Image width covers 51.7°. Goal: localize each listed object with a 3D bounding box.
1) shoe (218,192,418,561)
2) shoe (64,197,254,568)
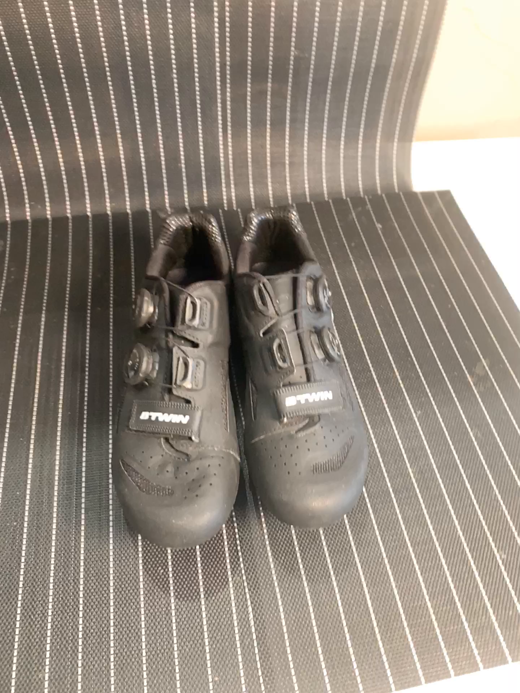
[{"bbox_3d":[0.026,0.009,0.414,0.100,0.090,0.271,-3,56,-5],"label":"shoe"},{"bbox_3d":[-0.060,0.014,0.395,0.100,0.090,0.261,0,56,-3],"label":"shoe"}]
